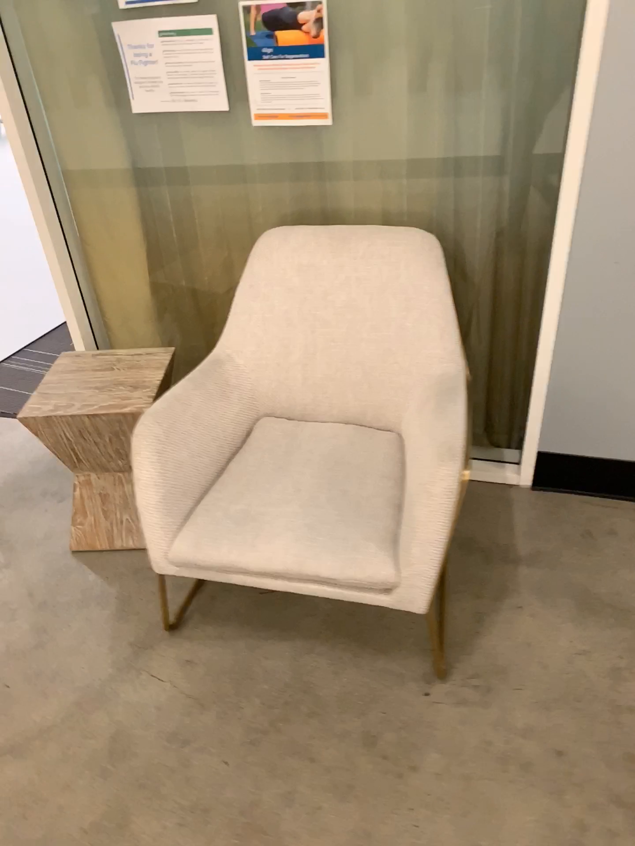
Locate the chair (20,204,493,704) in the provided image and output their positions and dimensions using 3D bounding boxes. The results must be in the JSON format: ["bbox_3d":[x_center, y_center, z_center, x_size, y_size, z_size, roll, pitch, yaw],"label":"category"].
[{"bbox_3d":[-0.019,0.023,1.579,0.781,0.864,0.774,4,36,12],"label":"chair"}]
